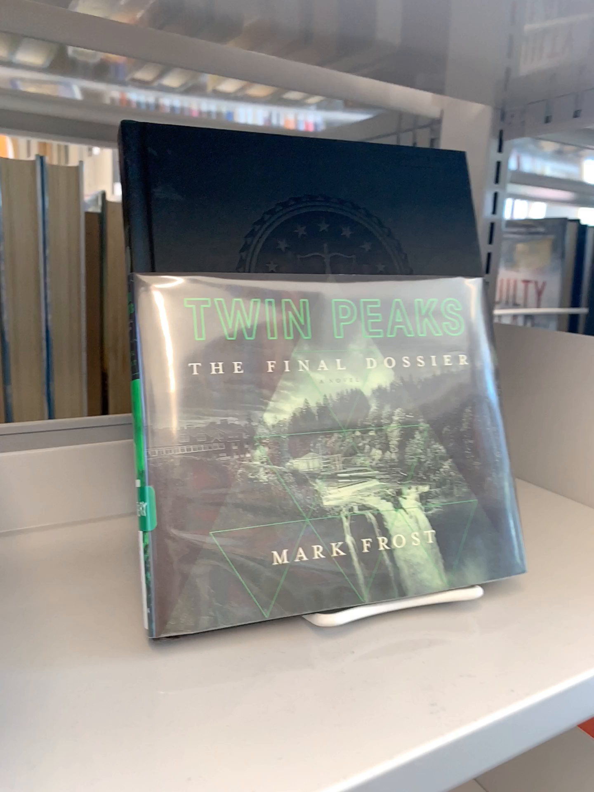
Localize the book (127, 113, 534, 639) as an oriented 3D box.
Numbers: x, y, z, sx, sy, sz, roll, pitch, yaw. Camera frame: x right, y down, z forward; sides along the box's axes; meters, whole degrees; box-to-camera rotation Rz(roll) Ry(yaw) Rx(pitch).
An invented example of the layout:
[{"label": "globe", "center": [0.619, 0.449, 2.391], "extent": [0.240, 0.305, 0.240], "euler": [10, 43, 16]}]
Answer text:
[{"label": "book", "center": [0.020, -0.016, 0.304], "extent": [0.190, 0.228, 0.020], "euler": [-2, -6, -19]}]
